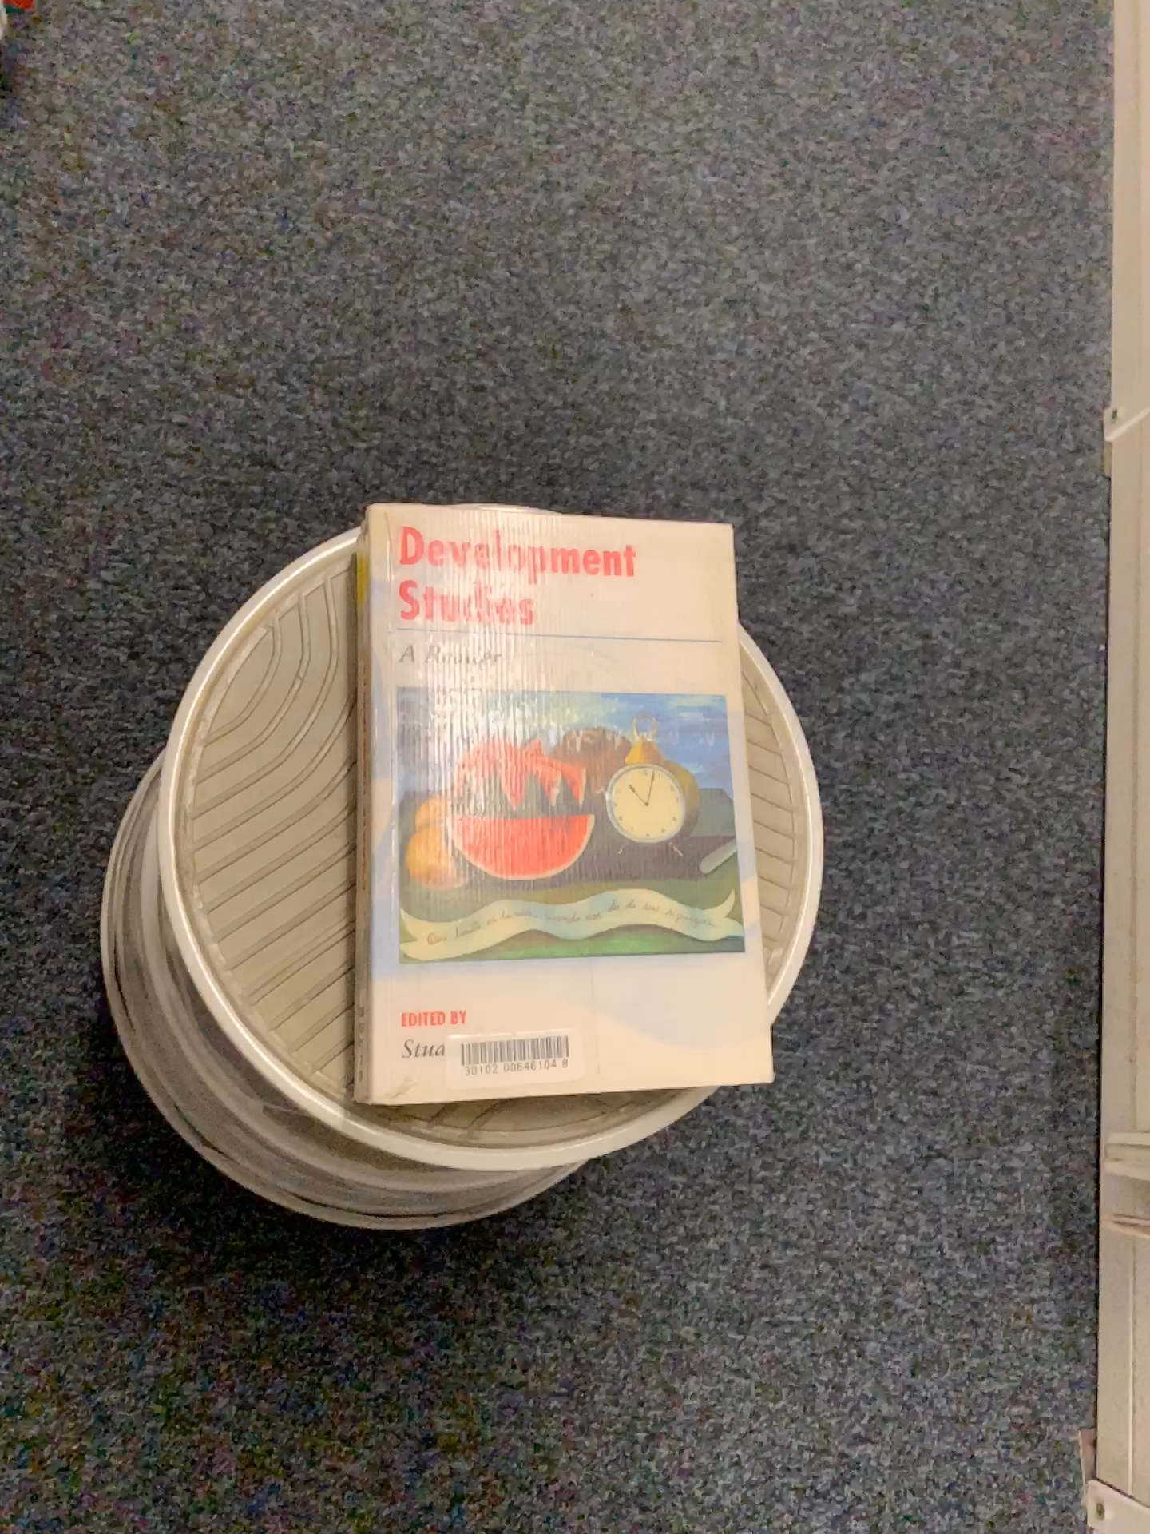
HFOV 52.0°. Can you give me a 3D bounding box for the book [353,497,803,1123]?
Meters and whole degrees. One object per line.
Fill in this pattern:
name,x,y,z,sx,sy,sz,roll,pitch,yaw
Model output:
book,-0.004,0.015,0.458,0.160,0.046,0.225,1,77,-15
